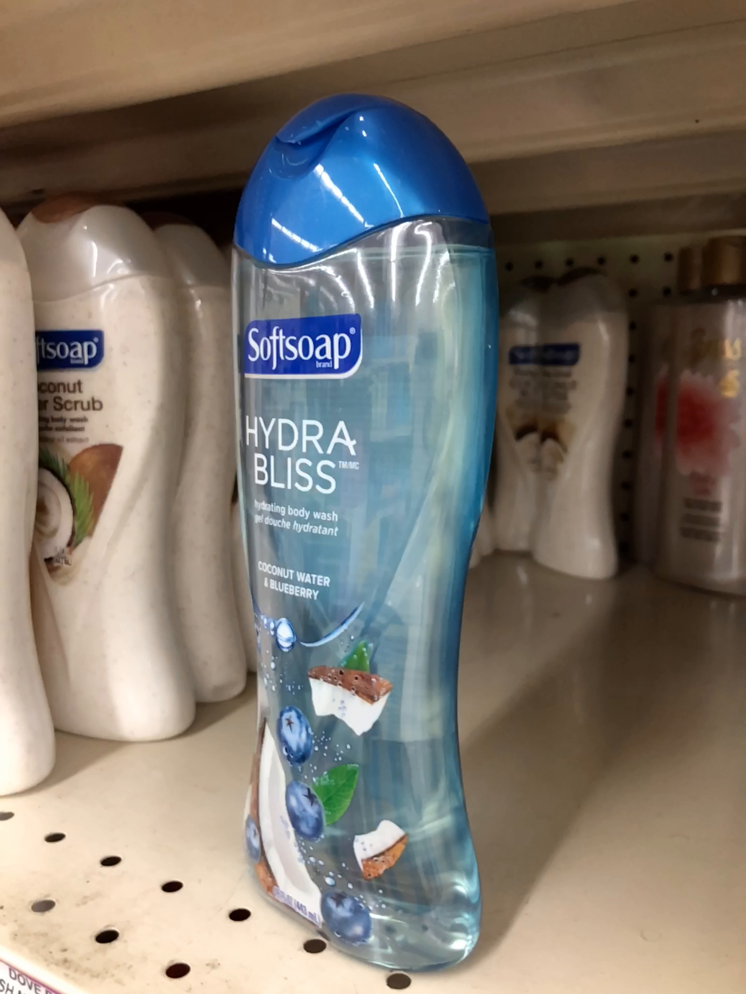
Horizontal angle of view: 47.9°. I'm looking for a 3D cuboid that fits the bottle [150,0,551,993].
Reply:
[{"bbox_3d":[-0.006,0.004,0.214,0.080,0.211,0.051,9,14,41],"label":"bottle"}]
